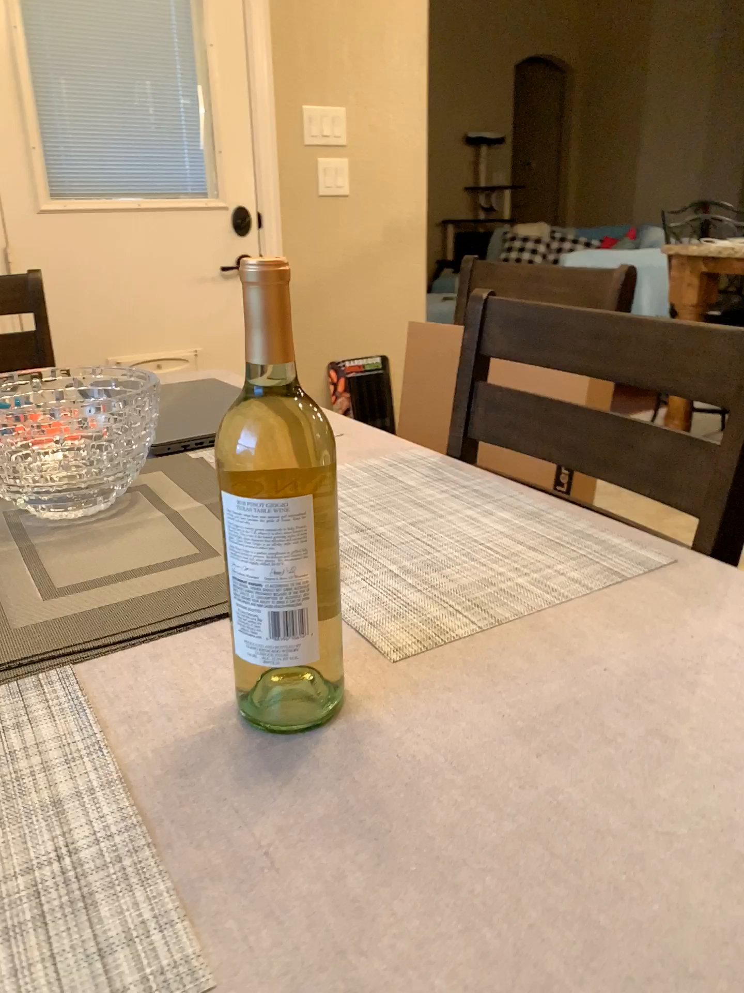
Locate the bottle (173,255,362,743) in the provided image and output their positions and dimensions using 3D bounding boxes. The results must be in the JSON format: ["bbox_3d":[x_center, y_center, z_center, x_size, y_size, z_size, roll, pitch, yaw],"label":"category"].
[{"bbox_3d":[-0.057,0.005,0.490,0.083,0.299,0.080,-1,20,0],"label":"bottle"}]
